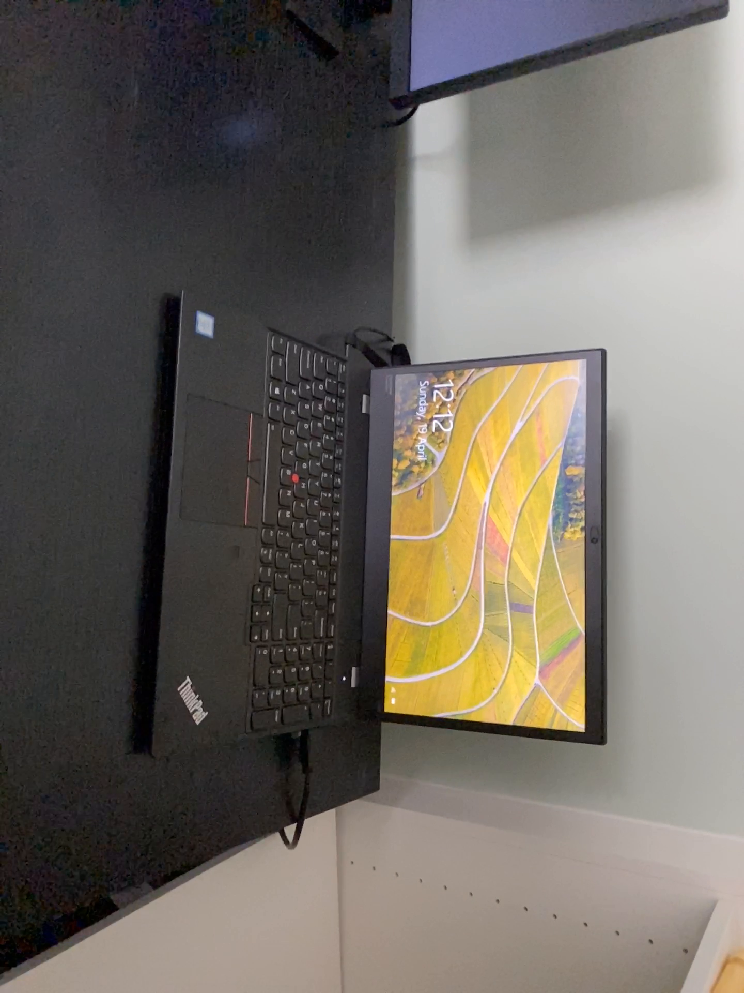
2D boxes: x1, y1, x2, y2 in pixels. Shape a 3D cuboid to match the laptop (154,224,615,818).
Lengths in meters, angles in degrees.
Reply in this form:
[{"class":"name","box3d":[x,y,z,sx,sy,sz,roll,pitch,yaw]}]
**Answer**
[{"class":"laptop","box3d":[0.032,0.029,0.626,0.295,0.231,0.351,12,77,-54]}]
